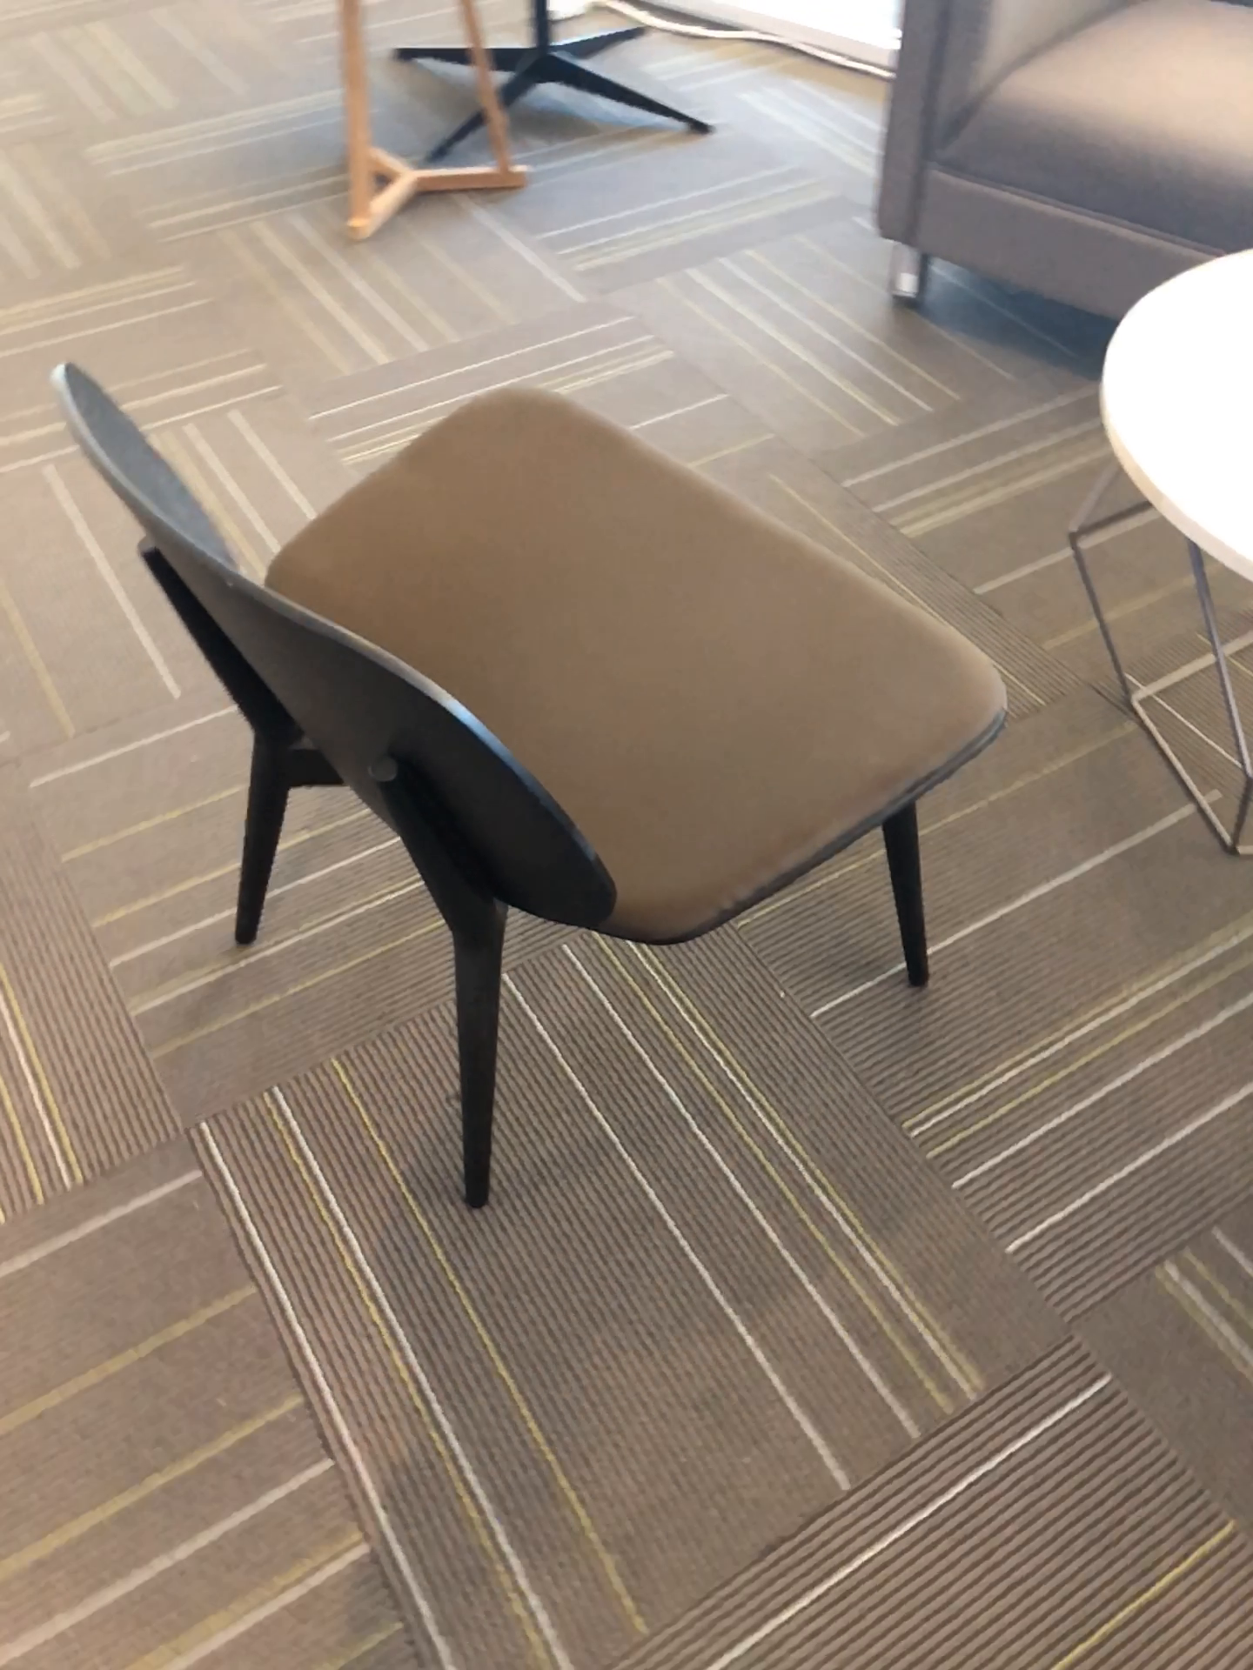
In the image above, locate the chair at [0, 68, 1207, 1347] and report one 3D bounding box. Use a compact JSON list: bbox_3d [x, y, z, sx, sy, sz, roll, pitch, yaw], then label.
[{"bbox_3d":[-0.054,-0.148,1.323,0.741,0.737,0.672,-35,57,-27],"label":"chair"}]
